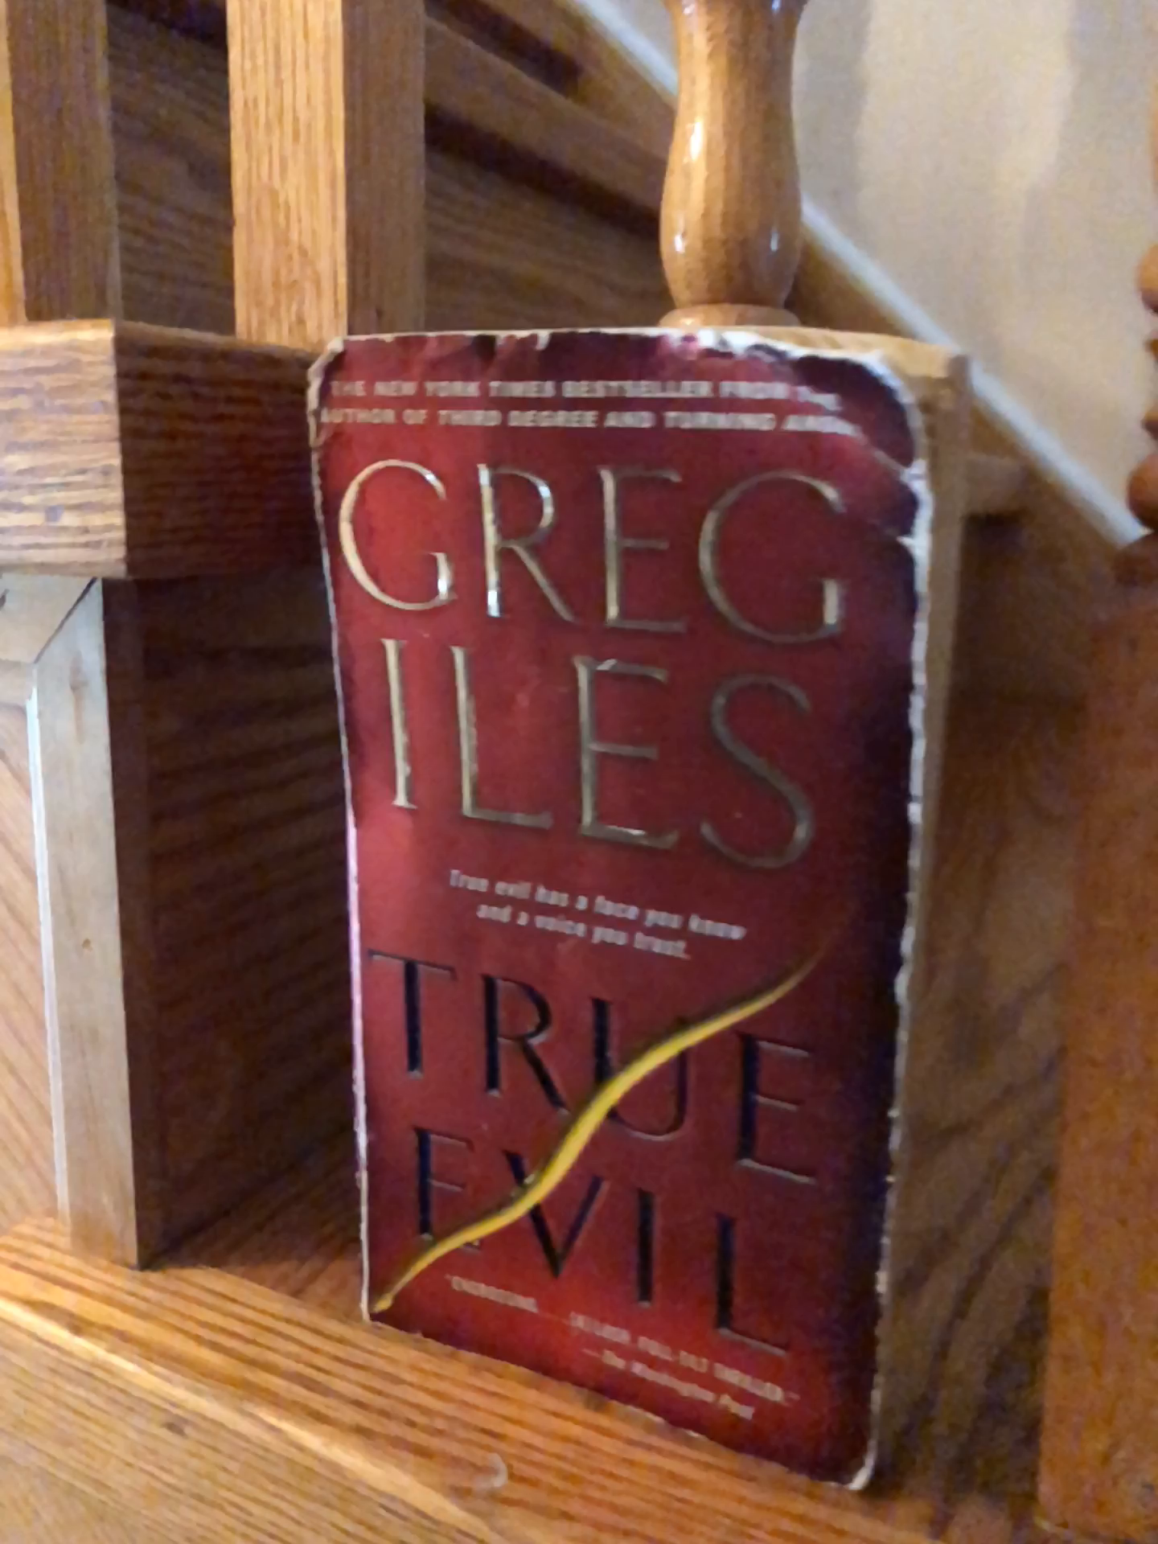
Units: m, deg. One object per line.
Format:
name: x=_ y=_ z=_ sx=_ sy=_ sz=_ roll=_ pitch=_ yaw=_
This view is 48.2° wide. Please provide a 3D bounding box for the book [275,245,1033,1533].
book: x=0.014 y=0.015 z=0.255 sx=0.120 sy=0.205 sz=0.068 roll=6 pitch=13 yaw=27
